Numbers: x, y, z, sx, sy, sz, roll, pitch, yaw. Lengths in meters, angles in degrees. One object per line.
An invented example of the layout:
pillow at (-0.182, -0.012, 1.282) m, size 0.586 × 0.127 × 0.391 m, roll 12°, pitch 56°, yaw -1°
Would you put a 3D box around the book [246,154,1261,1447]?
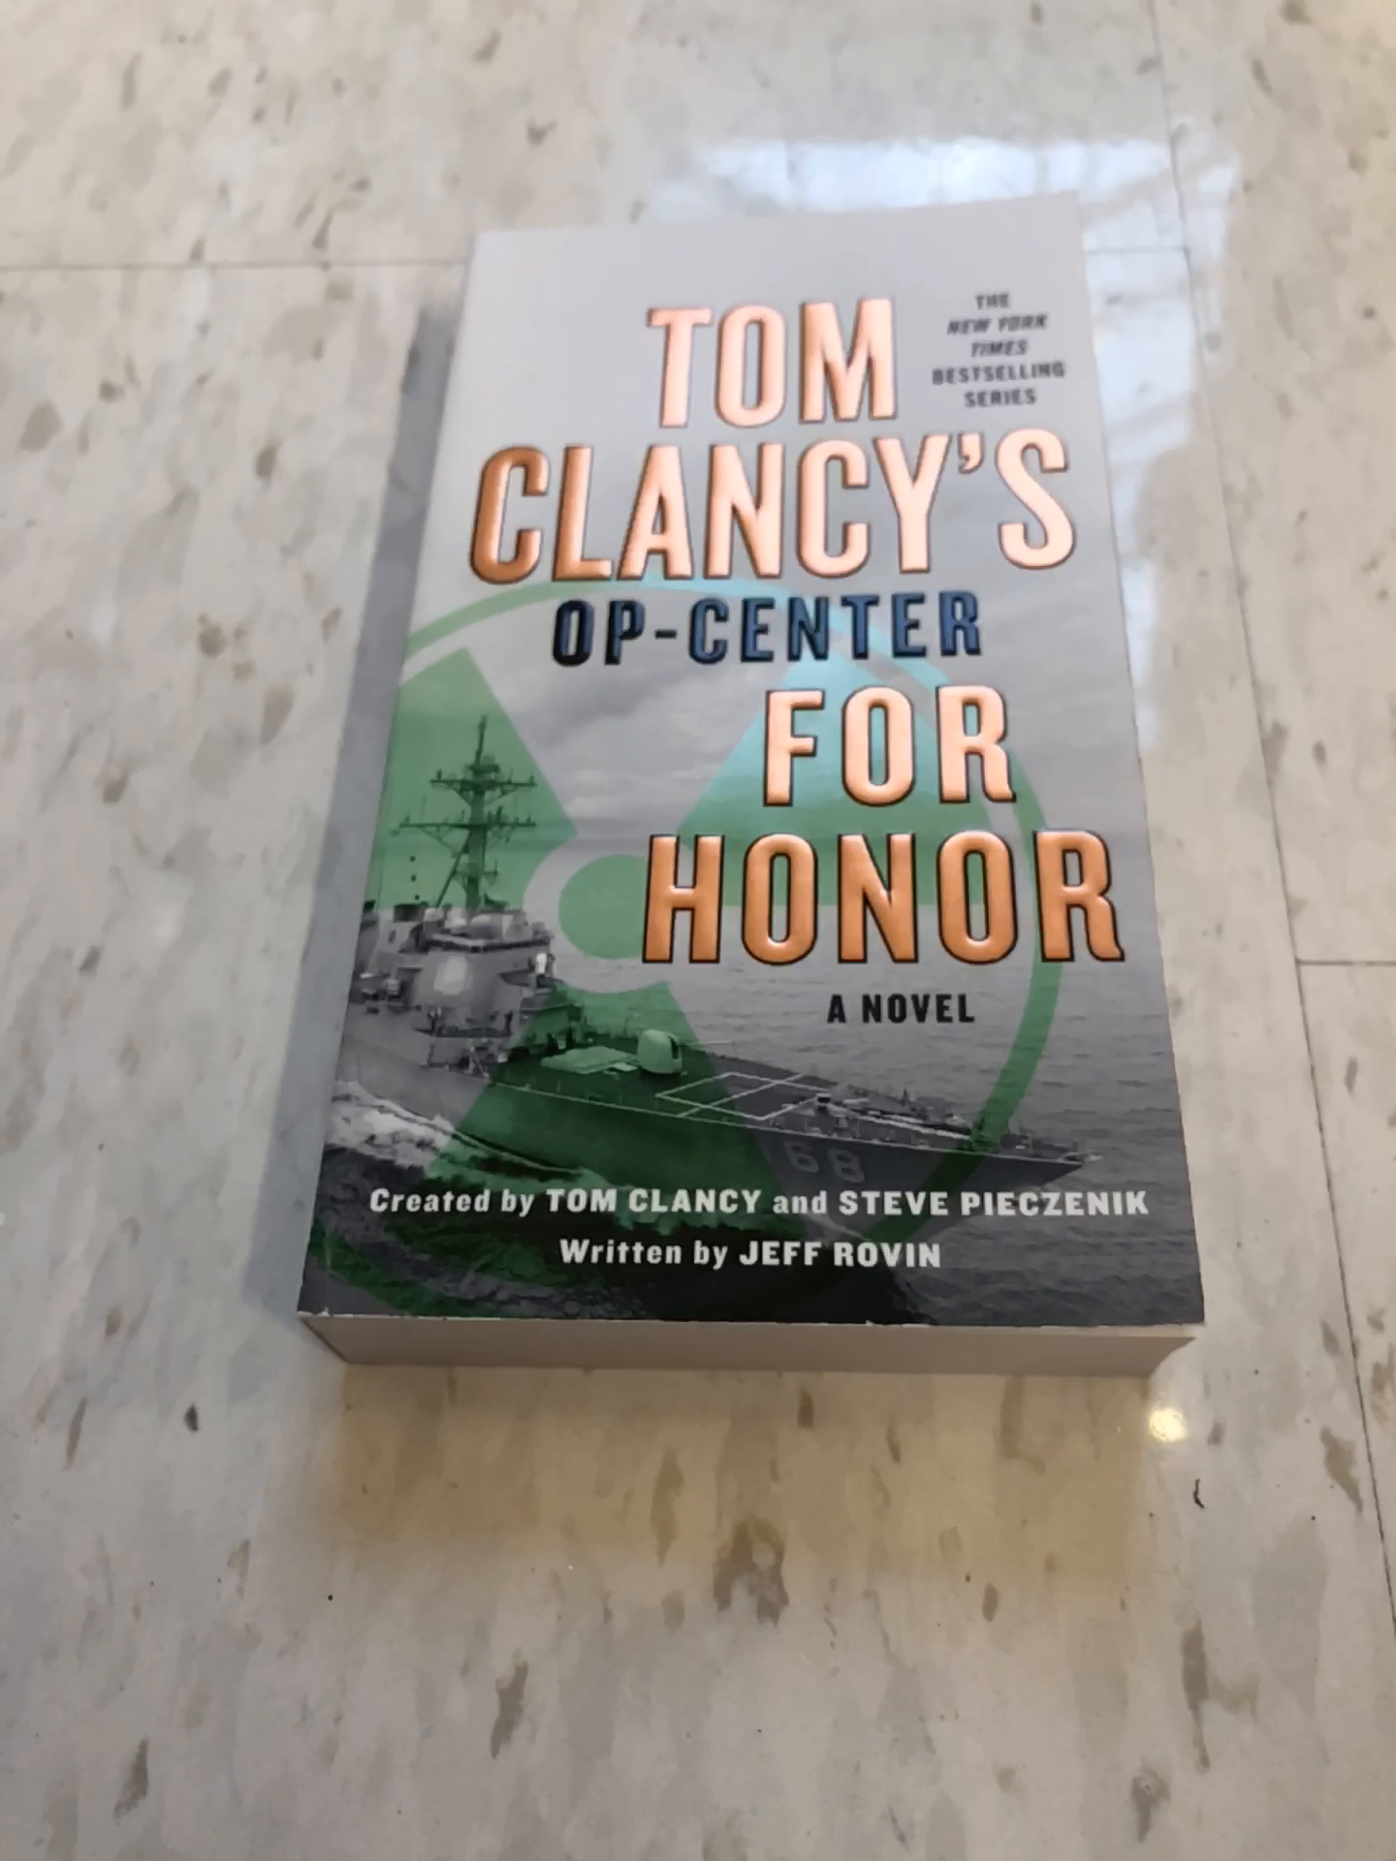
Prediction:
book at (0.009, -0.031, 0.240) m, size 0.110 × 0.050 × 0.201 m, roll 0°, pitch 61°, yaw 4°
